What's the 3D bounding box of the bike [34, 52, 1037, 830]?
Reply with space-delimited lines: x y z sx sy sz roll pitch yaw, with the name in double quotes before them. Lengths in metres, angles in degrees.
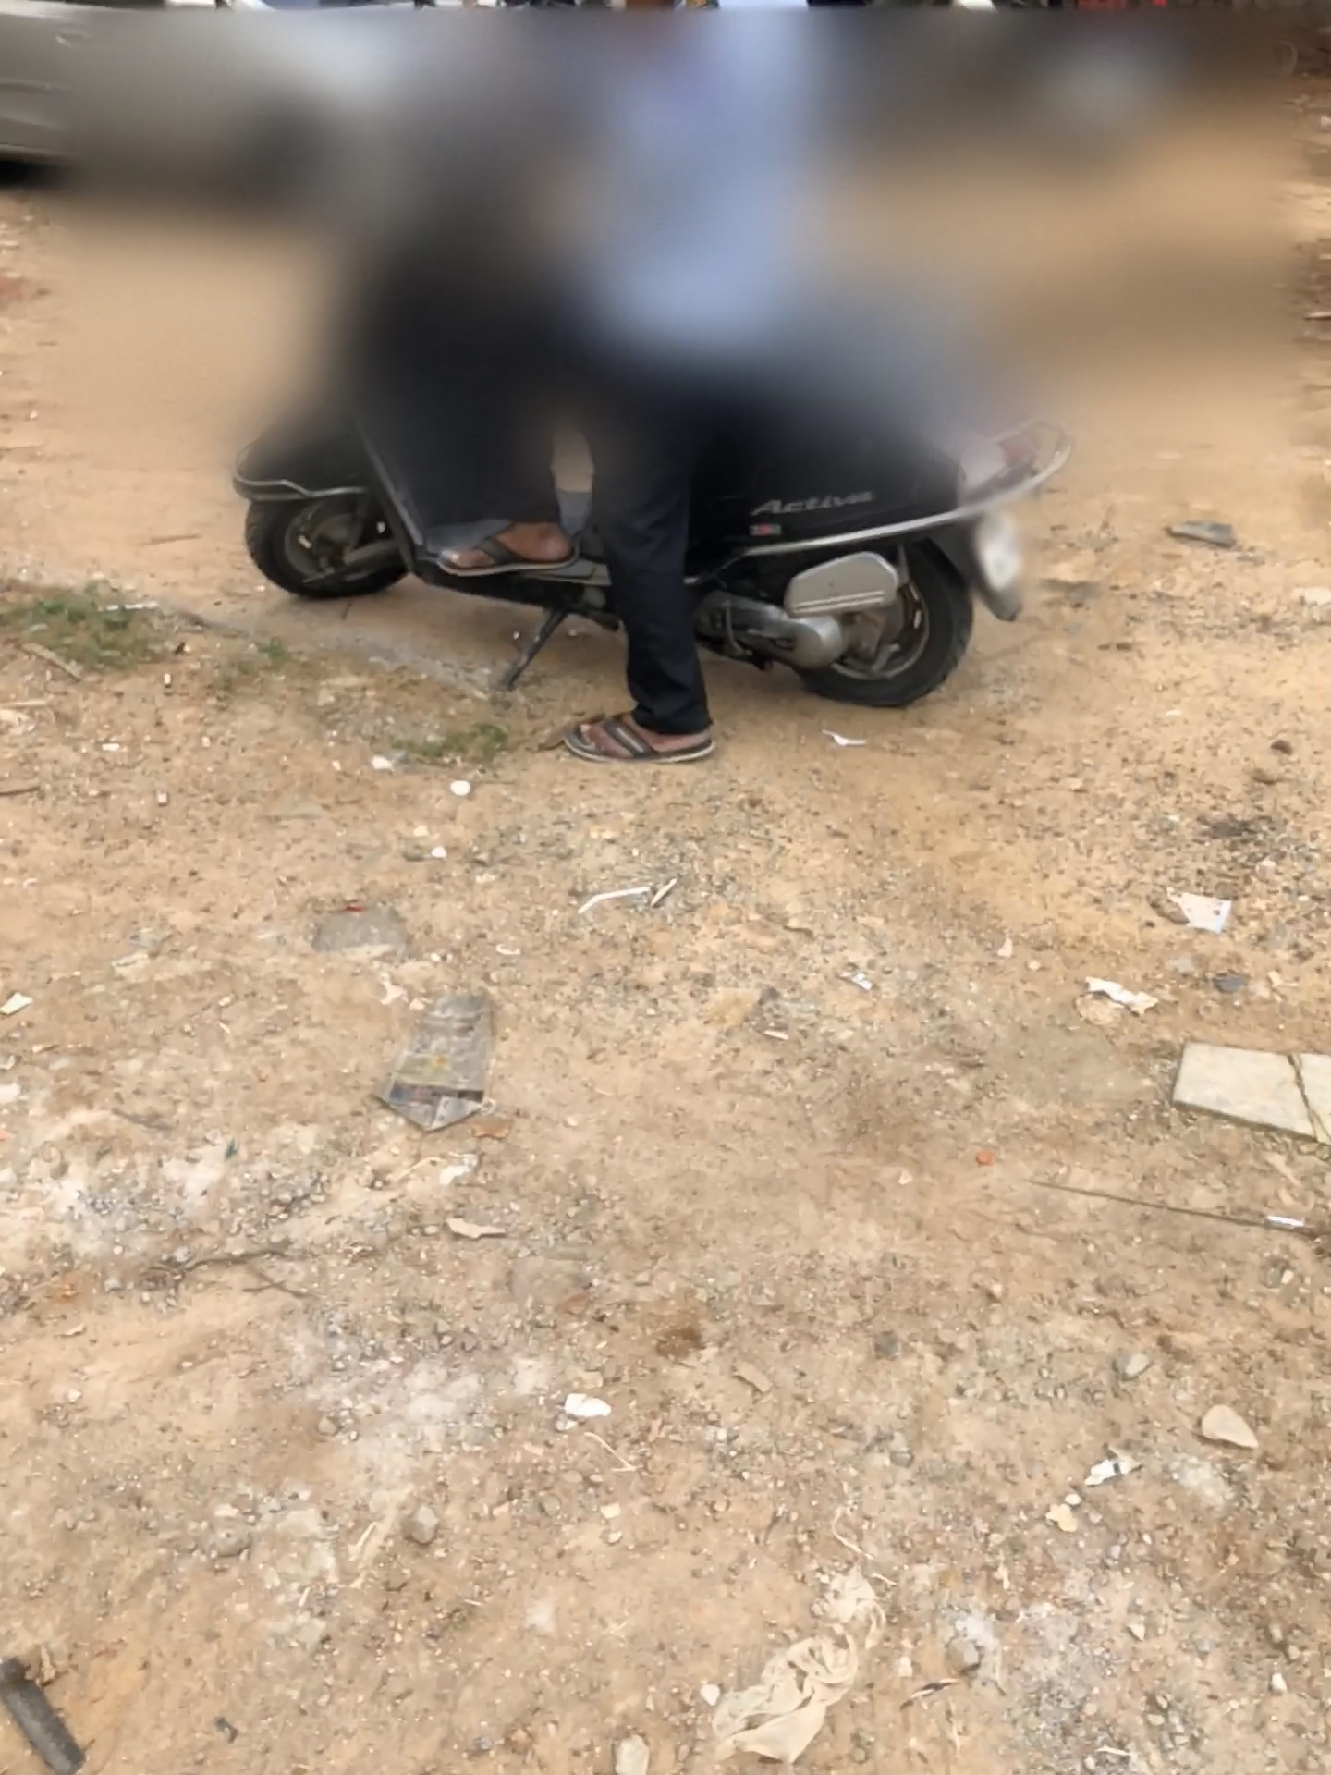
"bike" -0.207 -0.831 2.659 1.522 1.102 0.578 10 34 21
